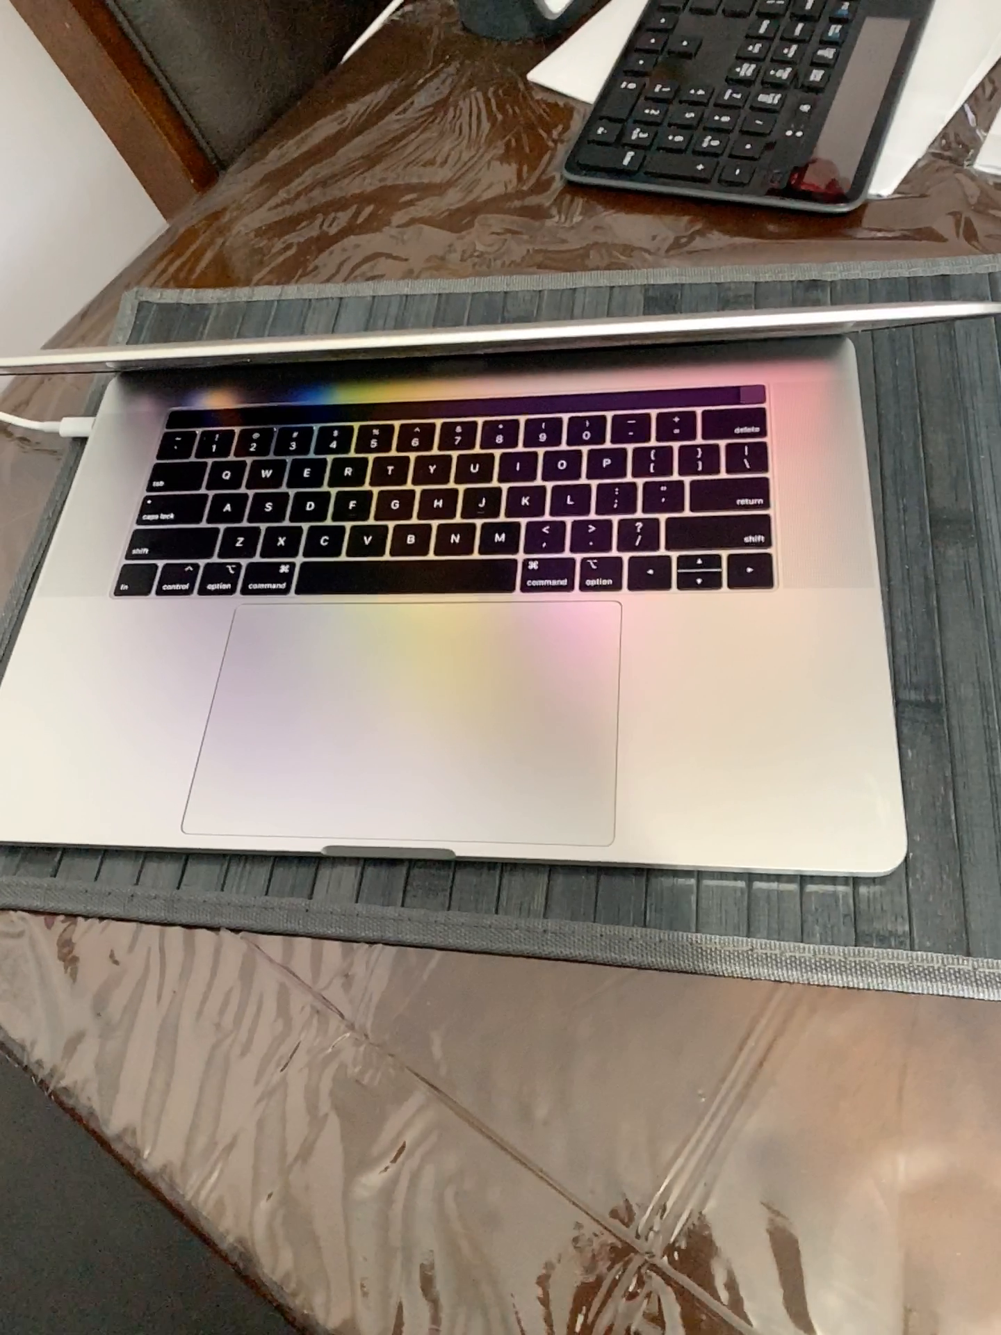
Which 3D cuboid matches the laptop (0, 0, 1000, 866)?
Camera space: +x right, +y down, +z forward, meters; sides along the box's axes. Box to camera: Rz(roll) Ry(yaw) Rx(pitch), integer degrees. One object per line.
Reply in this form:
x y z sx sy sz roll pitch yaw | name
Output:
-0.041 -0.079 0.344 0.339 0.164 0.234 0 61 10 | laptop
